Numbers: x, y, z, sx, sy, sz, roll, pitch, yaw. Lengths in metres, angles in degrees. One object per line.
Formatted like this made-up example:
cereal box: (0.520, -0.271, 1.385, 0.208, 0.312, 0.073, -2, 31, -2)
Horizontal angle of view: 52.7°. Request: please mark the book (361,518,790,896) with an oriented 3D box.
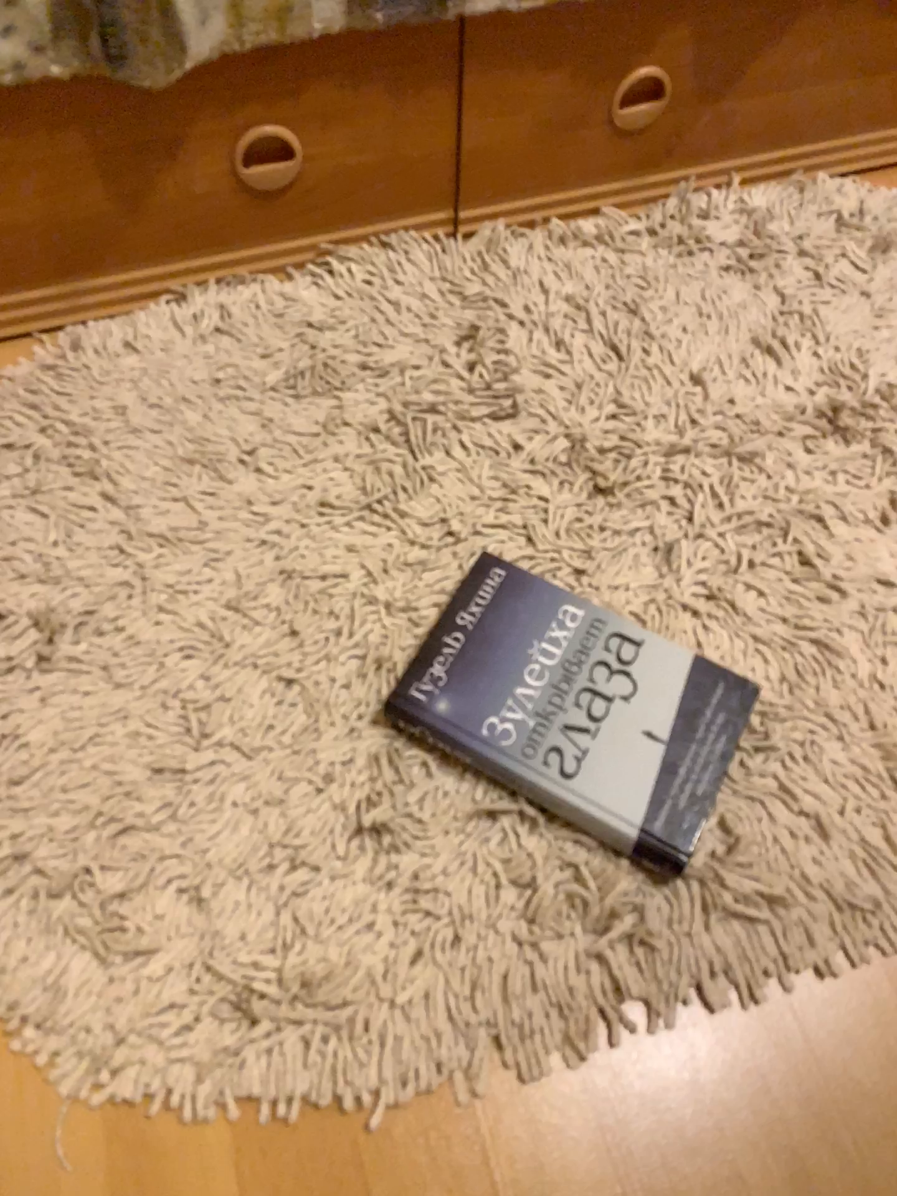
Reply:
book: (0.079, 0.060, 0.573, 0.220, 0.040, 0.151, 27, 62, 14)
